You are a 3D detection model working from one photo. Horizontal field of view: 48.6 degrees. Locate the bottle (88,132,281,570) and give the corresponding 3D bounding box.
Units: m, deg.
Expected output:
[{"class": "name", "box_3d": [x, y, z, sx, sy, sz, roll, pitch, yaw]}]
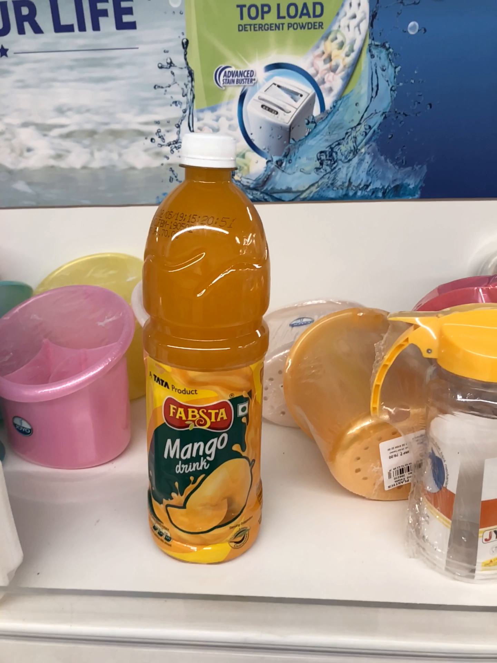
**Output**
[{"class": "bottle", "box_3d": [-0.028, 0.016, 0.343, 0.090, 0.259, 0.080, -1, 21, 0]}]
